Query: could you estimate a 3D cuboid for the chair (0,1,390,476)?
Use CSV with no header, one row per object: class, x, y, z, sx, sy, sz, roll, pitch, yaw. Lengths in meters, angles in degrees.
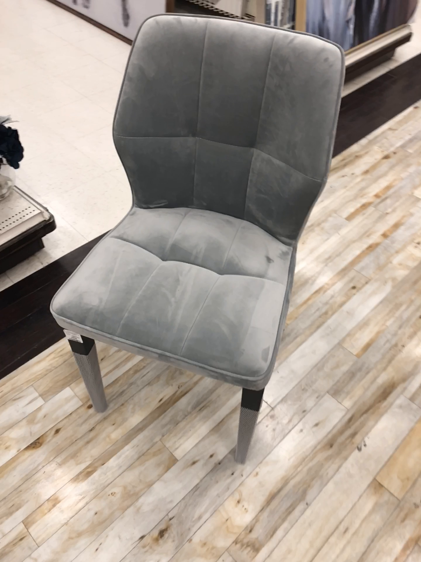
chair,-0.009,-0.060,1.089,0.530,0.837,0.572,16,50,12
